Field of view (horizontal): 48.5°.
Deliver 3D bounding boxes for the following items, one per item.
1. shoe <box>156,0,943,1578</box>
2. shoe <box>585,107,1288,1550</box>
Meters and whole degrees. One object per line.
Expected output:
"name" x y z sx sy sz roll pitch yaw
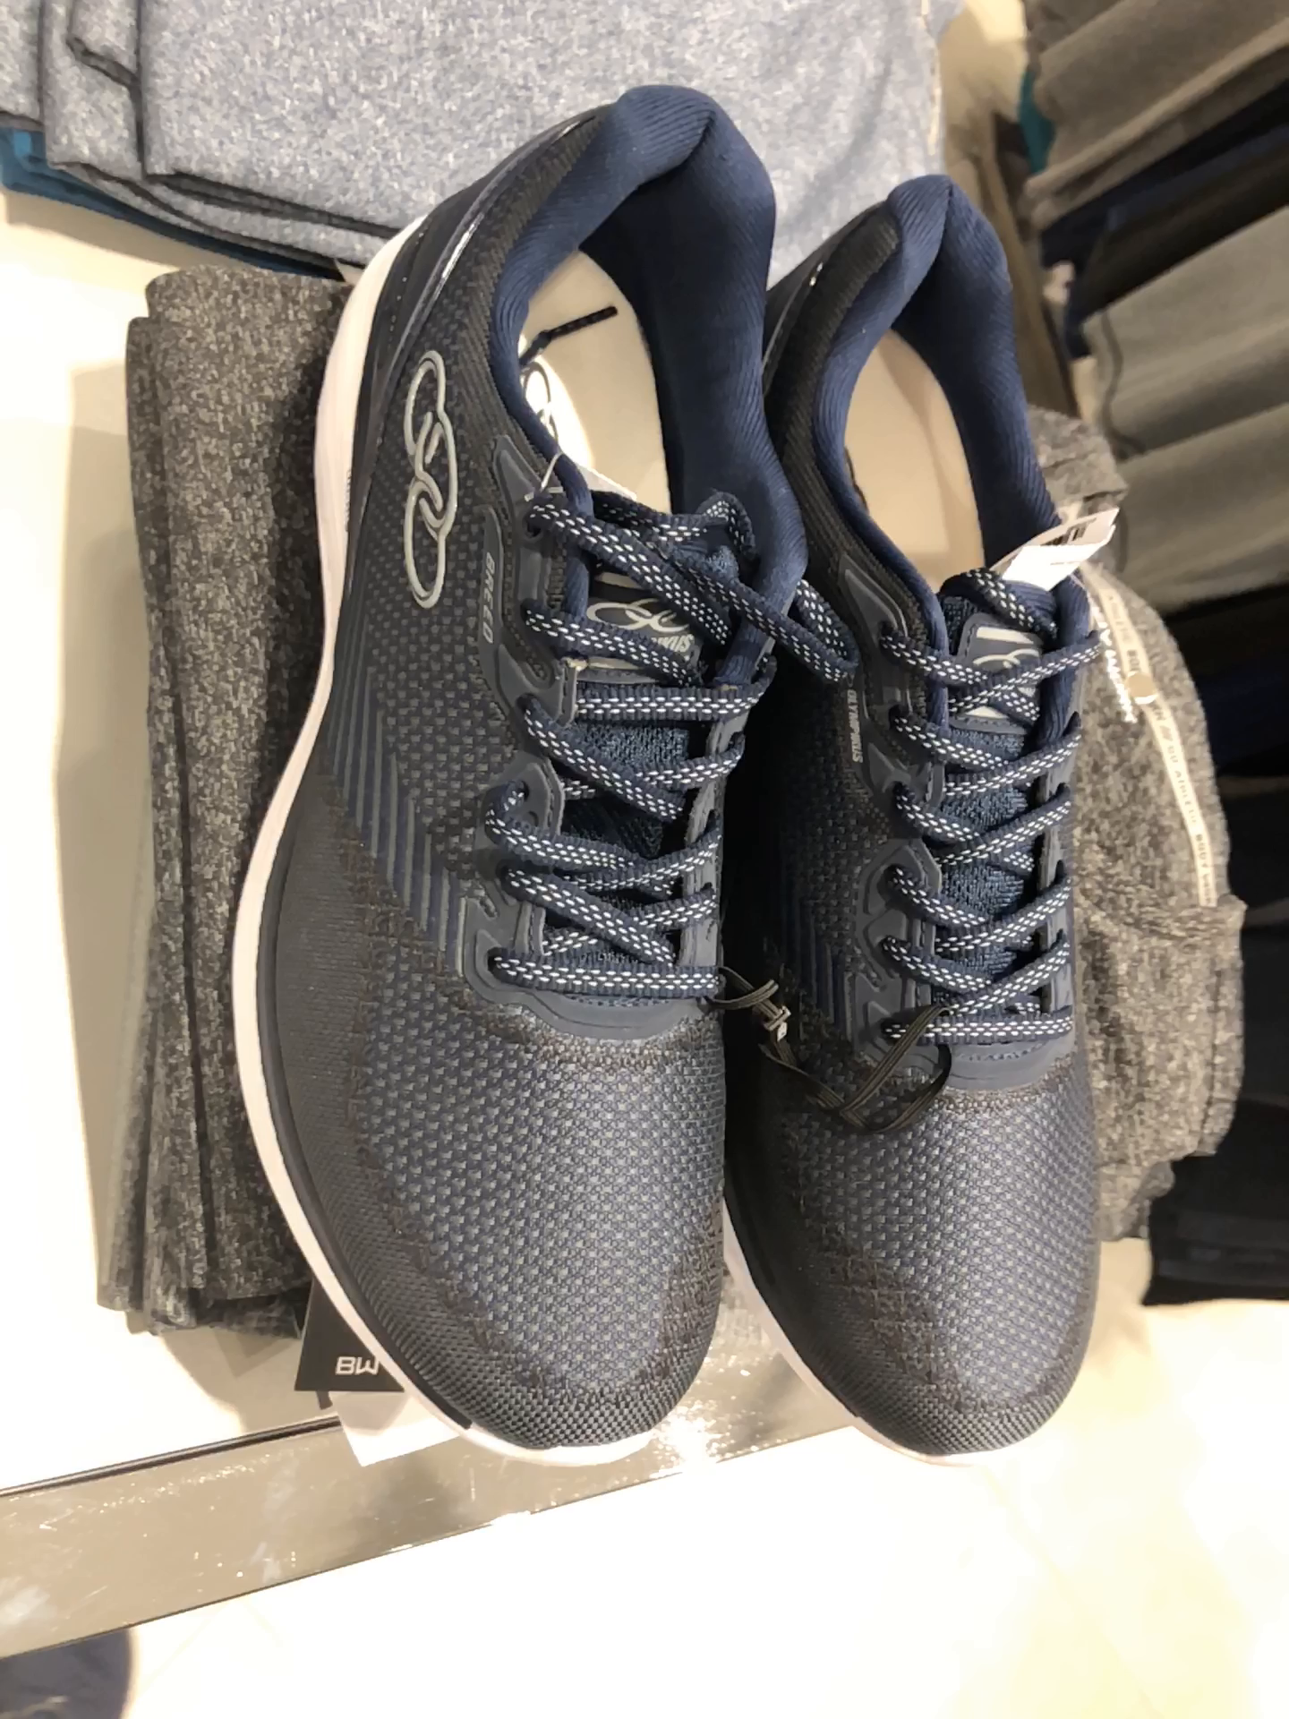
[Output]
"shoe" -0.025 -0.023 0.321 0.121 0.129 0.290 6 80 -29
"shoe" 0.065 -0.008 0.363 0.120 0.130 0.290 -2 84 -15
